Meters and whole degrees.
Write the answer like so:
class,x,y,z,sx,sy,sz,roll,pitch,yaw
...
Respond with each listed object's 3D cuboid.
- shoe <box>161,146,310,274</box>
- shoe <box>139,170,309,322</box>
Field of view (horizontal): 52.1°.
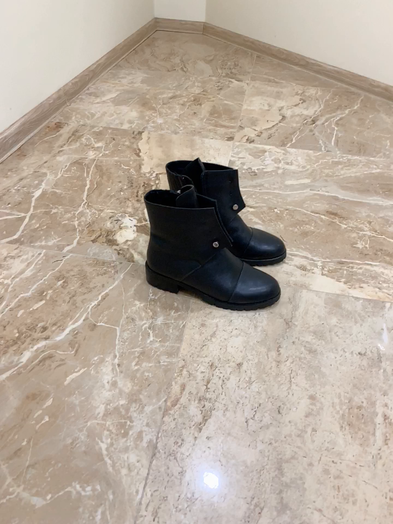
class,x,y,z,sx,sy,sz,roll,pitch,yaw
shoe,0.066,-0.097,0.771,0.250,0.199,0.091,7,41,5
shoe,0.038,-0.024,0.682,0.250,0.199,0.090,11,41,6
